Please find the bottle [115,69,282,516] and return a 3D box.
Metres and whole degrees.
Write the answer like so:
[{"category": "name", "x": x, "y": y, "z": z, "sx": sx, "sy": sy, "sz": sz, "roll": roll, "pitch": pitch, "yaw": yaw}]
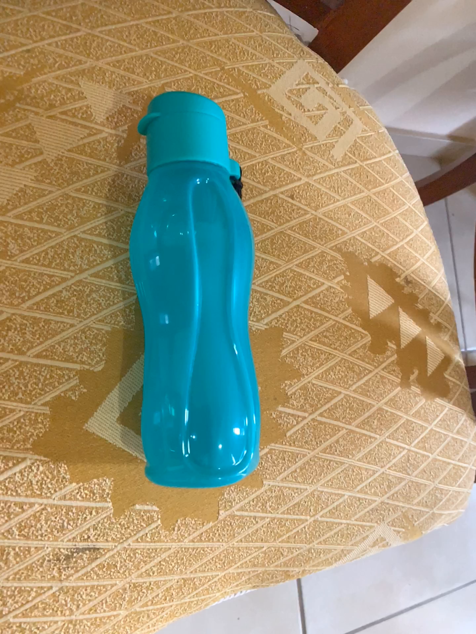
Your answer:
[{"category": "bottle", "x": -0.023, "y": -0.012, "z": 0.254, "sx": 0.070, "sy": 0.050, "sz": 0.200, "roll": 1, "pitch": 84, "yaw": -24}]
